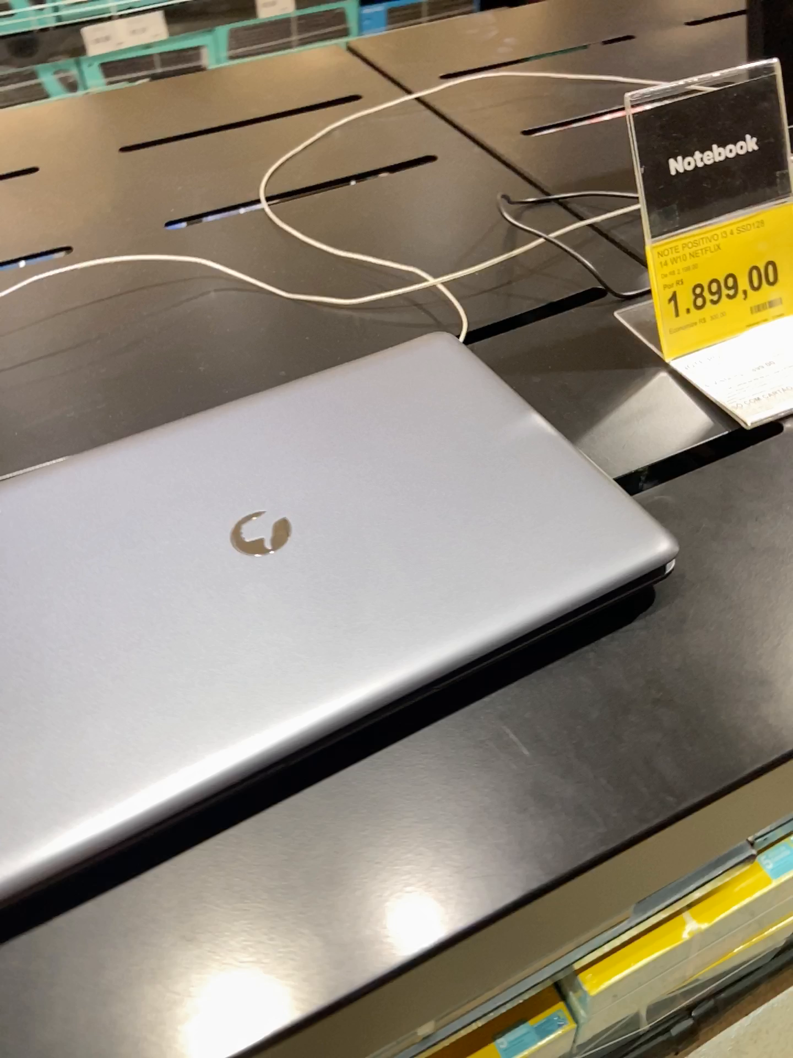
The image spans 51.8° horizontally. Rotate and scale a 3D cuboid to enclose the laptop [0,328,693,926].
[{"bbox_3d":[-0.060,0.005,0.389,0.330,0.001,0.213,-23,49,-17],"label":"laptop"}]
